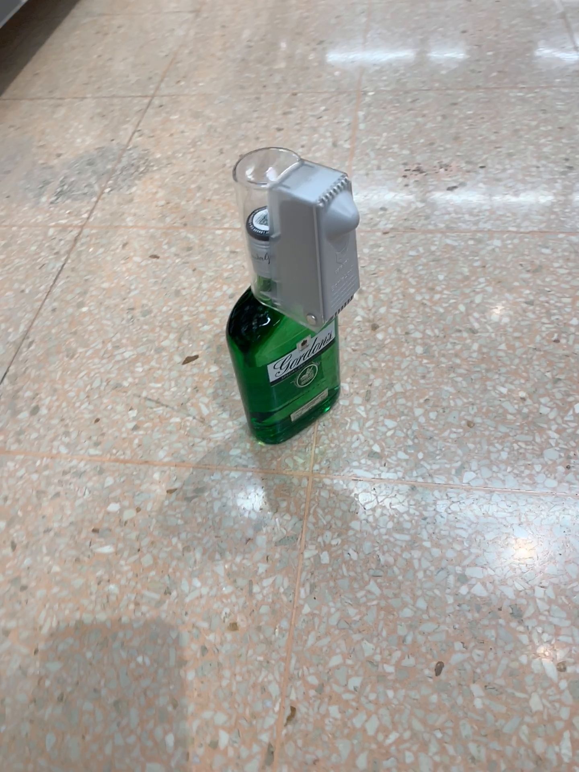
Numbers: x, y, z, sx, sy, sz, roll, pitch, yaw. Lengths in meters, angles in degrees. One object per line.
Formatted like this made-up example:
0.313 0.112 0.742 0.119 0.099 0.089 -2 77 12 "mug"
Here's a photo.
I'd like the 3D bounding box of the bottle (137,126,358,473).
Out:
-0.012 -0.043 0.388 0.103 0.203 0.056 -35 56 -20 "bottle"
